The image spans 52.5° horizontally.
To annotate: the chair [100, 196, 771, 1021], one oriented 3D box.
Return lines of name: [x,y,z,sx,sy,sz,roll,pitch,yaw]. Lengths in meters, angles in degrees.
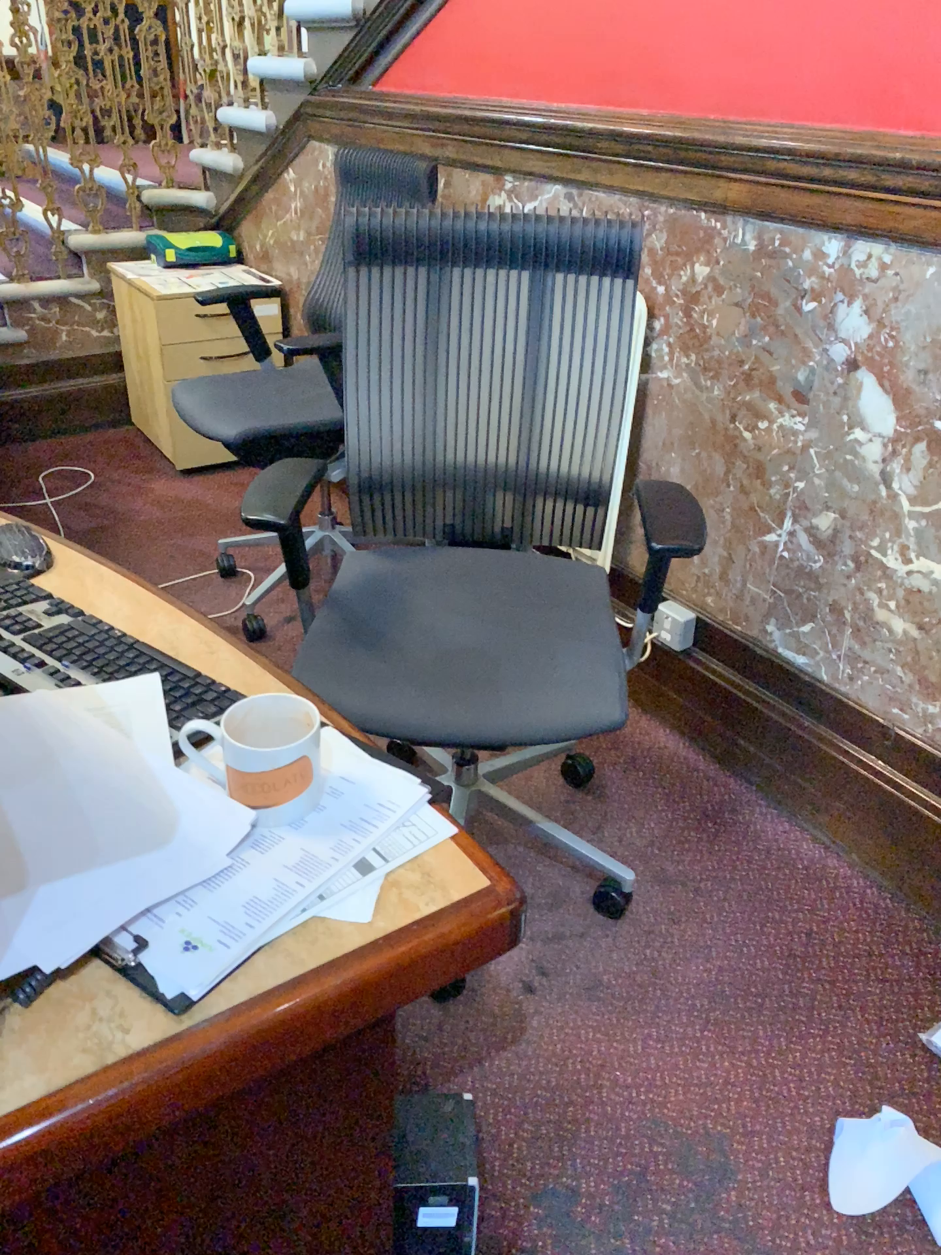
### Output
chair: [-0.036,-0.050,1.597,0.720,1.129,0.697,4,30,3]
